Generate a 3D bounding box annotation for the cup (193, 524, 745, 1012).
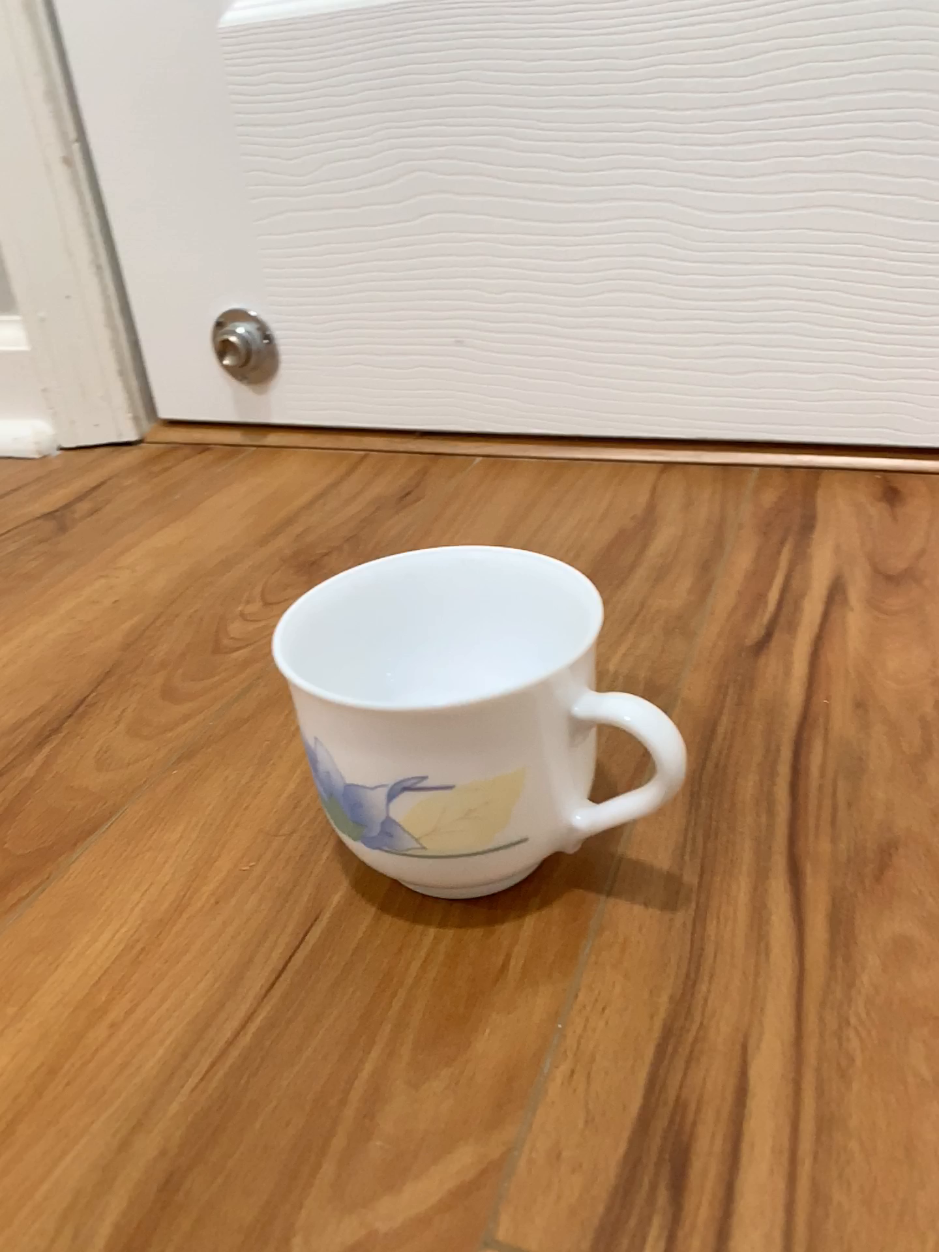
[{"bbox_3d":[0.005,0.026,0.242,0.103,0.063,0.084,10,32,26],"label":"cup"}]
